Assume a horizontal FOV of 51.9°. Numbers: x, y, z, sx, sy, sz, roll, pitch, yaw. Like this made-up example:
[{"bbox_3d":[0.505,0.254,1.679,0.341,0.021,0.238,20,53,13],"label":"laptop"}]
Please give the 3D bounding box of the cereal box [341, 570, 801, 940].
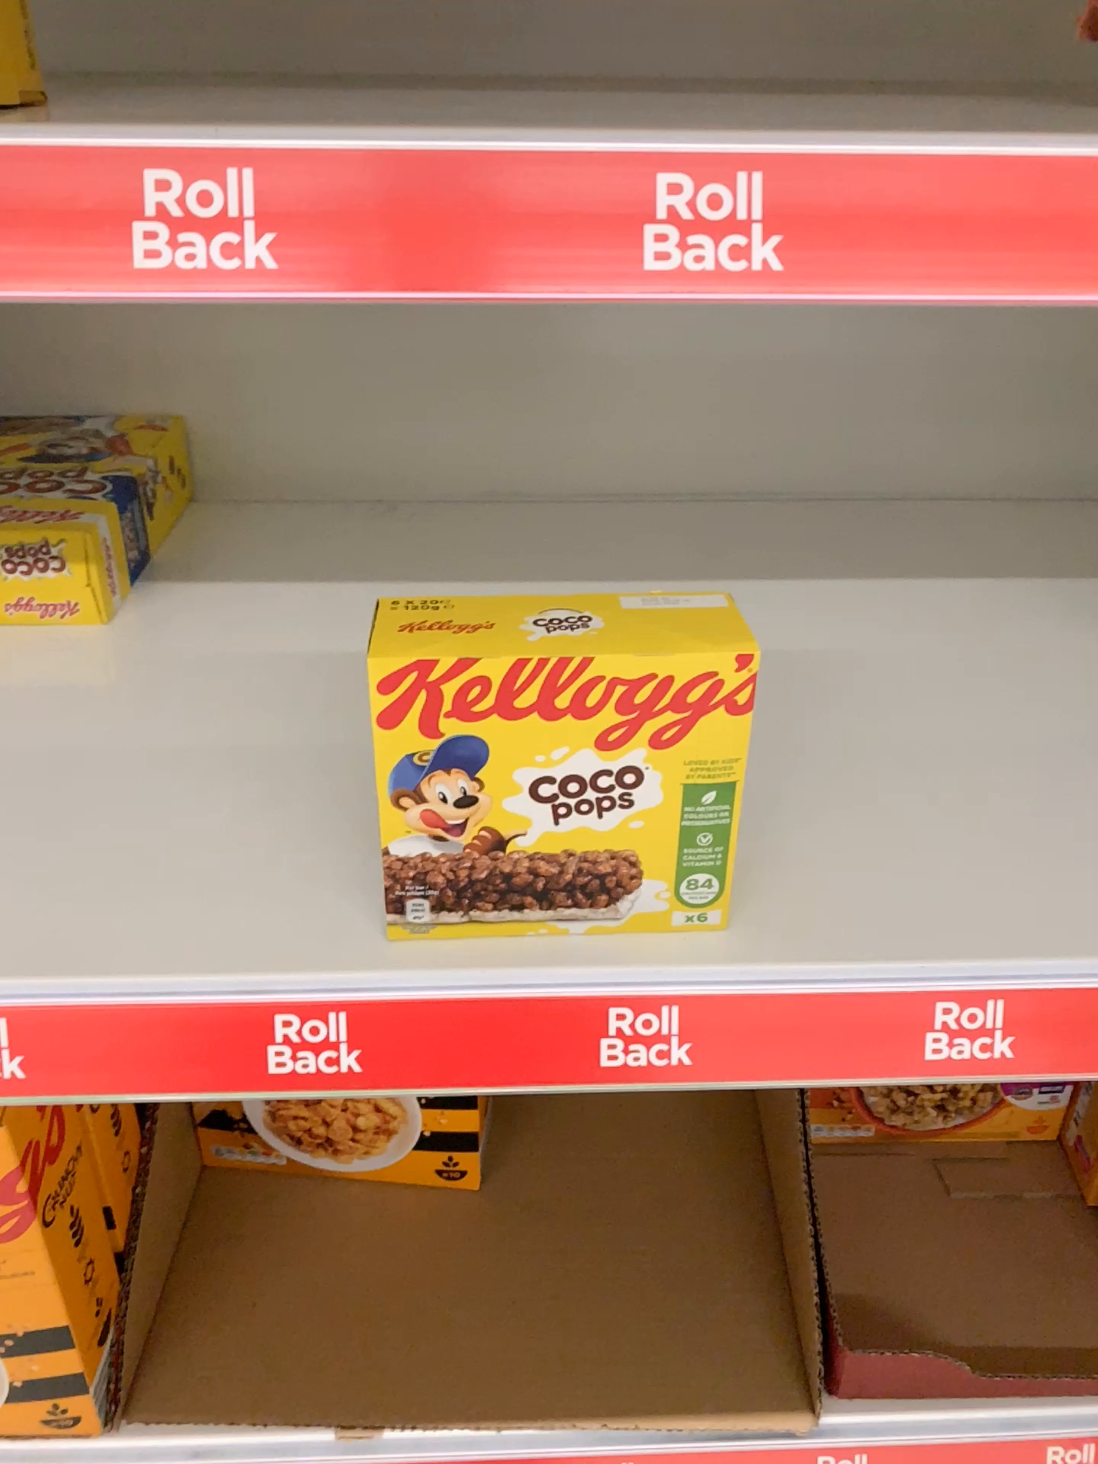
[{"bbox_3d":[0.006,0.008,0.422,0.150,0.119,0.061,-2,30,-3],"label":"cereal box"}]
